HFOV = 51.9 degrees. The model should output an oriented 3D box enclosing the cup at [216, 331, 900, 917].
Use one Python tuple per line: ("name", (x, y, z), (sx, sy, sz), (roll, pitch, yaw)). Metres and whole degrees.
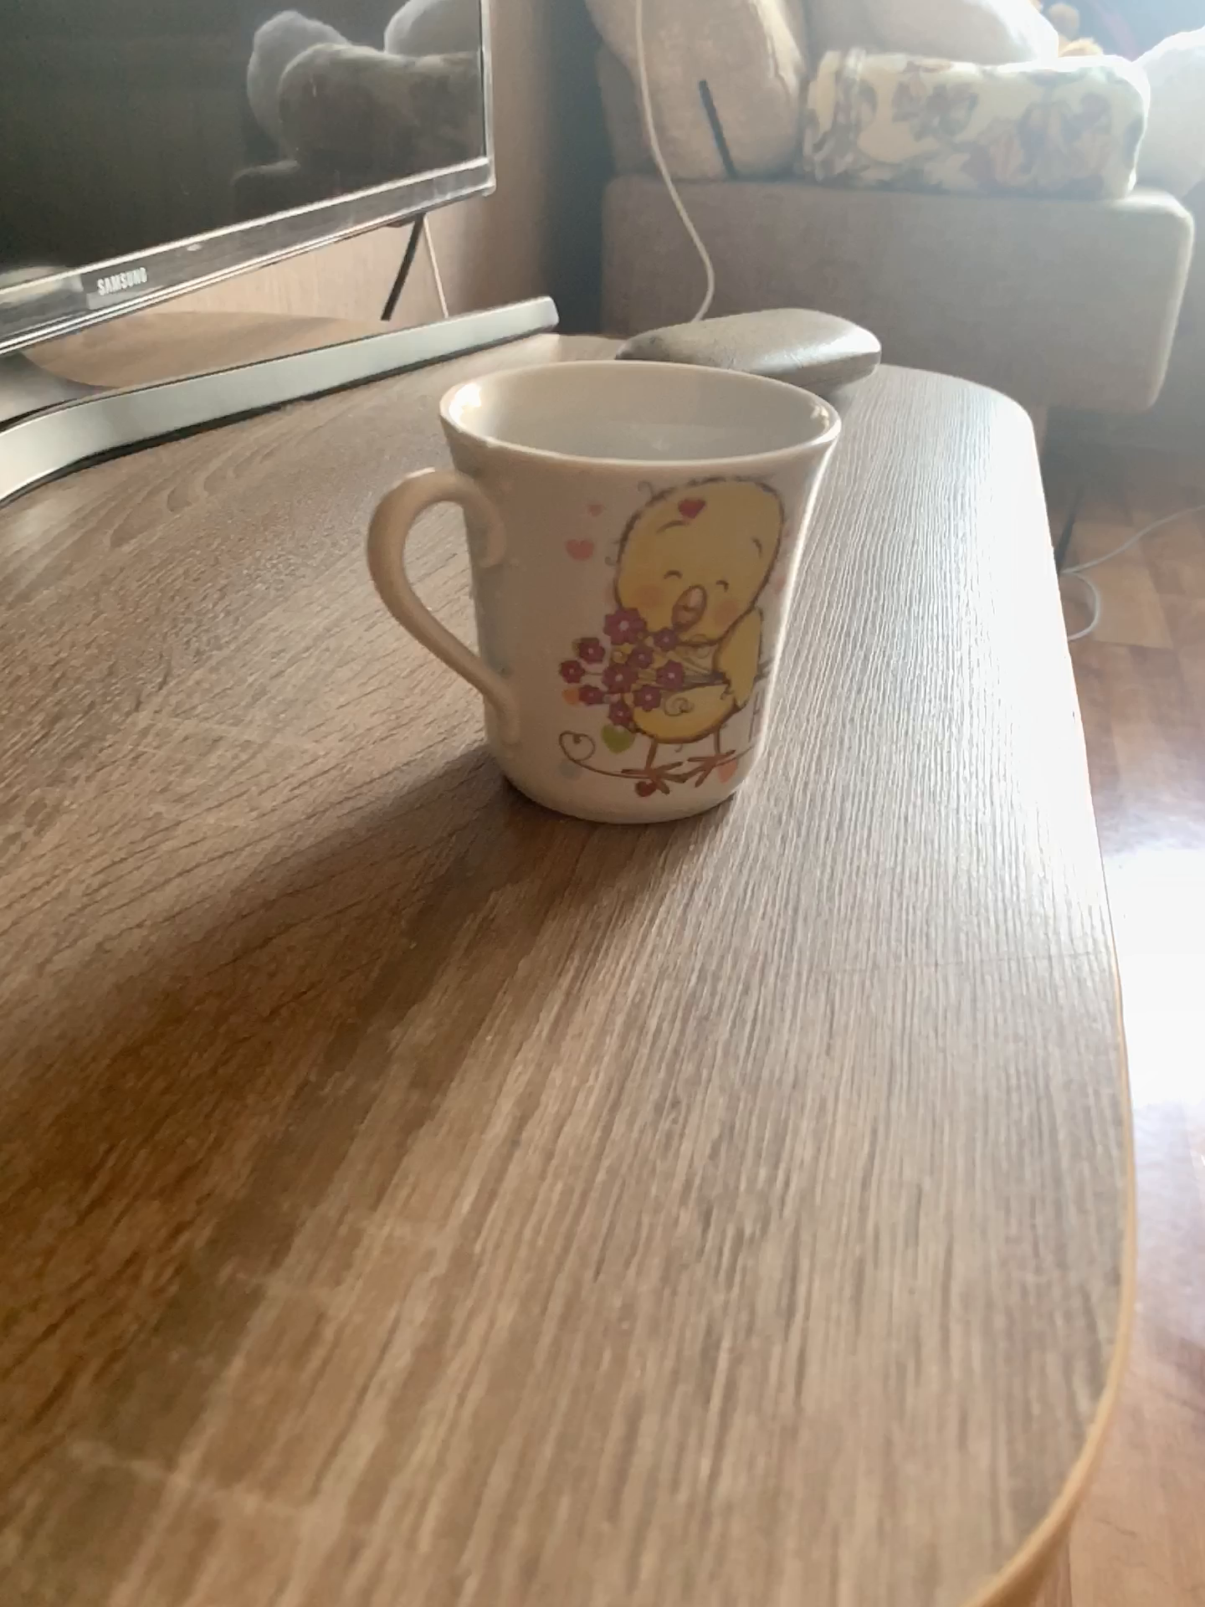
("cup", (-0.008, -0.045, 0.256), (0.110, 0.080, 0.070), (-20, 37, -32))
